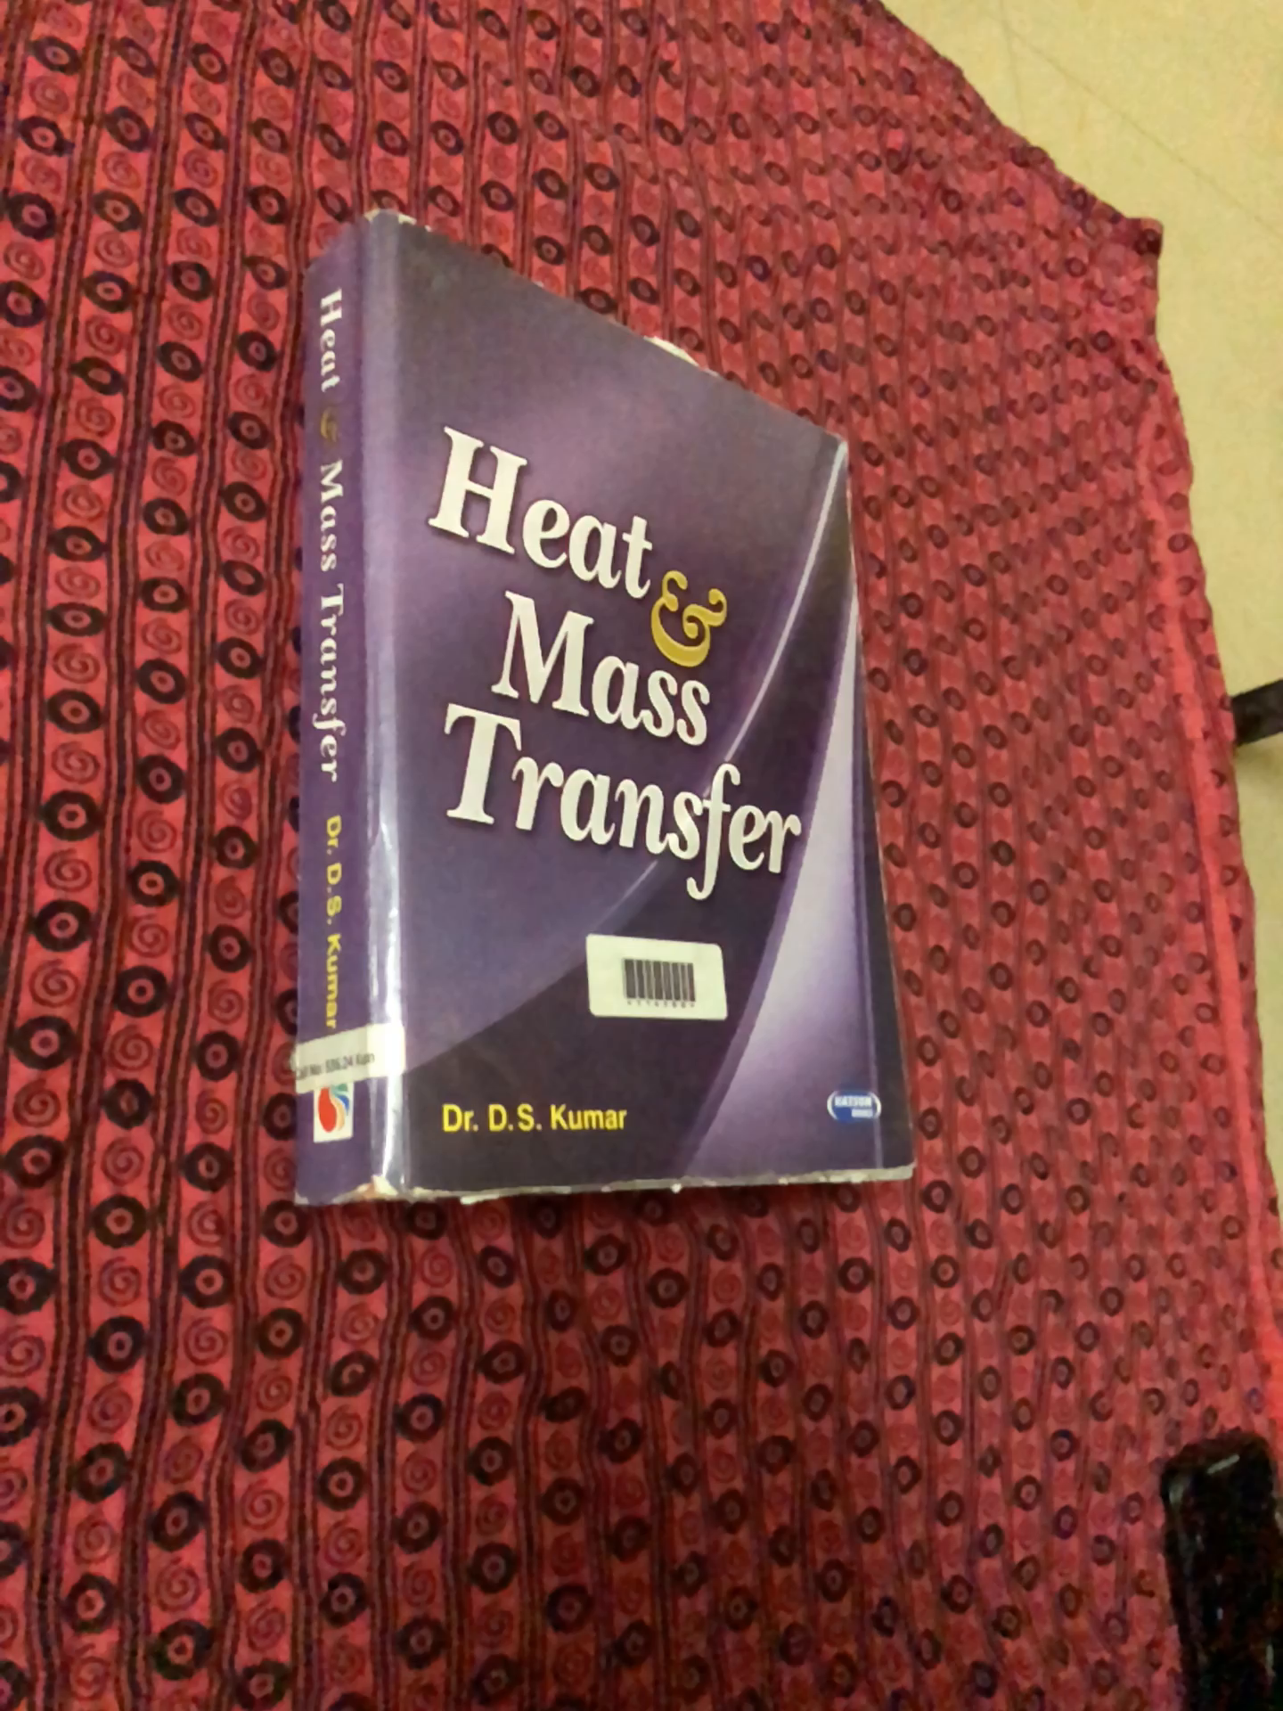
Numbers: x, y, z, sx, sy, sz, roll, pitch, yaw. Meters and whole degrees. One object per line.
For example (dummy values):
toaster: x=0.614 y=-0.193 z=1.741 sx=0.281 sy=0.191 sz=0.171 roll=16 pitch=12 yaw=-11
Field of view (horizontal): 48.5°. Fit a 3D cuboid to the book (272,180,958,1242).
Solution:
book: x=0.000 y=-0.021 z=0.341 sx=0.171 sy=0.040 sz=0.211 roll=12 pitch=70 yaw=-43
